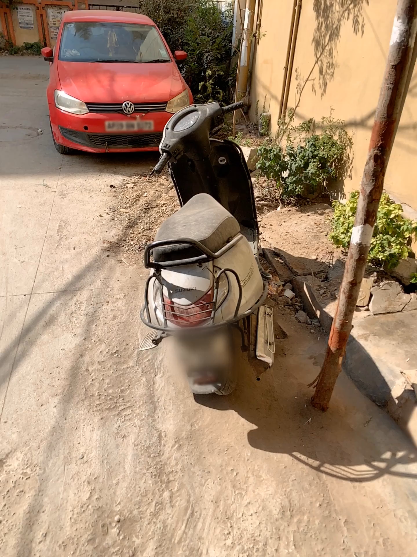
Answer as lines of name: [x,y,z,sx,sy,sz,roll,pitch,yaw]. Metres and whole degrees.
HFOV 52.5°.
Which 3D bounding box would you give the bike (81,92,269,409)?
bike: [-0.051,-0.288,2.141,0.549,1.001,1.516,5,31,3]
